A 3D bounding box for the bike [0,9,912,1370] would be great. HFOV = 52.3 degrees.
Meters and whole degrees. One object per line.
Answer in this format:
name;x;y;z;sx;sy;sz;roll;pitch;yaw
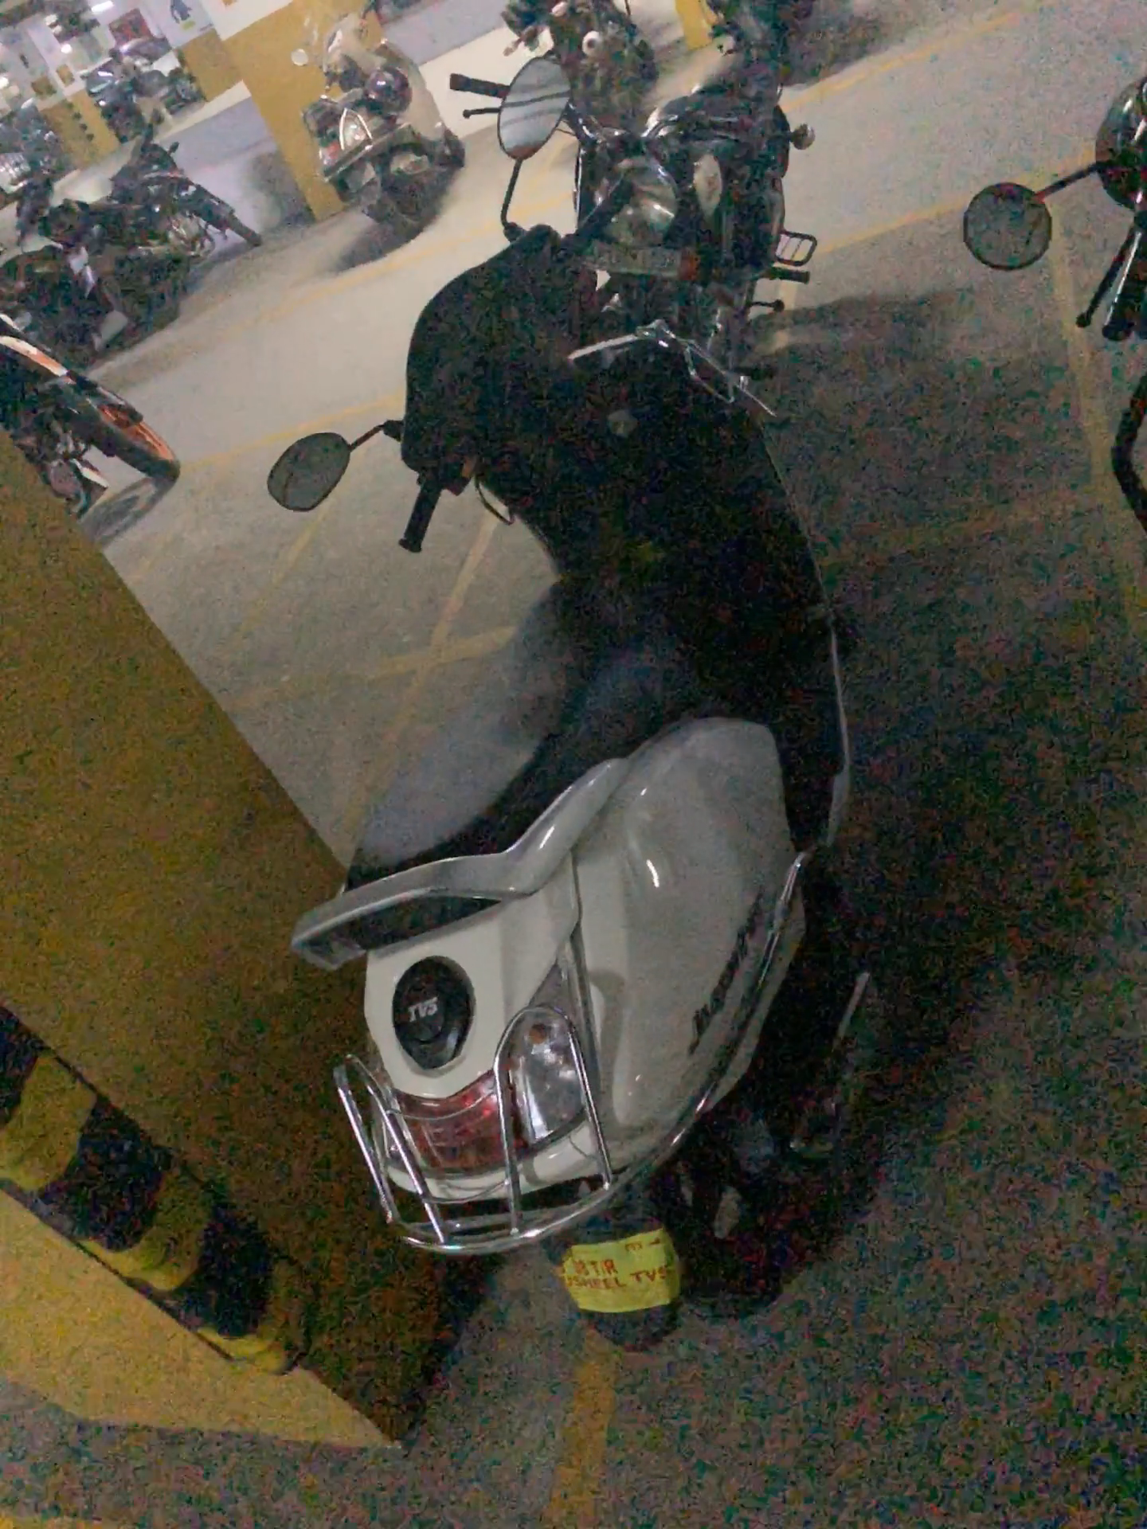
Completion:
bike;0.005;-0.158;1.796;0.649;1.158;1.536;-12;42;23
